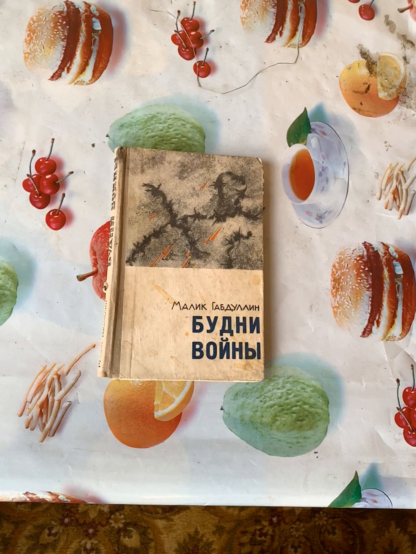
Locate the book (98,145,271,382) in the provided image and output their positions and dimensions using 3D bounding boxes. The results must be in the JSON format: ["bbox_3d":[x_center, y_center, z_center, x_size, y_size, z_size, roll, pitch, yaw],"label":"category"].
[{"bbox_3d":[-0.016,-0.013,0.366,0.136,0.019,0.196,3,77,-8],"label":"book"}]
